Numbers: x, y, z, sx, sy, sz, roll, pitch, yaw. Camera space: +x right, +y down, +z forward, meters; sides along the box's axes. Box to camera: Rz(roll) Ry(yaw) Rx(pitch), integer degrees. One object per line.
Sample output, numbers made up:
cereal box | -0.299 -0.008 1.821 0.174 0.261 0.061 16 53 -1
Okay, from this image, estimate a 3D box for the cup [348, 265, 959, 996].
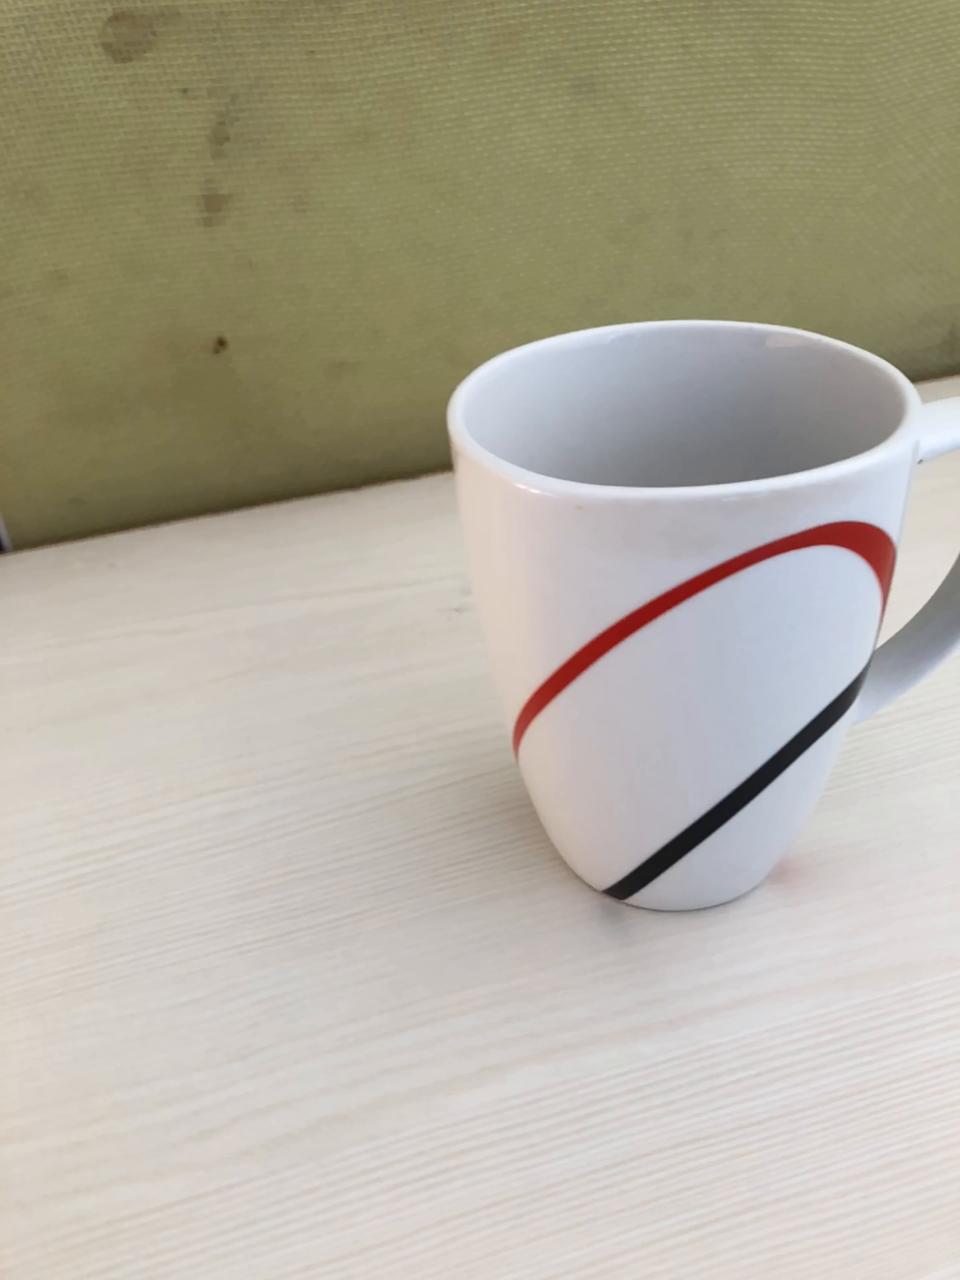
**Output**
cup | 0.052 -0.007 0.217 0.140 0.099 0.091 -7 31 -2
